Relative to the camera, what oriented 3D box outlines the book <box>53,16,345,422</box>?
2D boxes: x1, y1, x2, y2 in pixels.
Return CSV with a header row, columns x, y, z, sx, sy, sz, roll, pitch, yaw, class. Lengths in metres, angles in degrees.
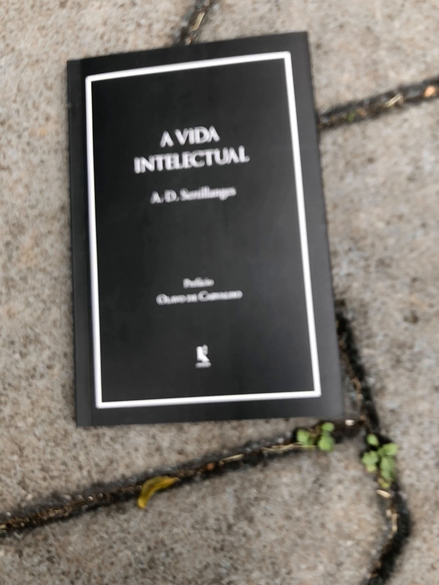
x,y,z,sx,sy,sz,roll,pitch,yaw,class
-0.014,-0.038,0.260,0.136,0.020,0.196,-4,83,6,book
